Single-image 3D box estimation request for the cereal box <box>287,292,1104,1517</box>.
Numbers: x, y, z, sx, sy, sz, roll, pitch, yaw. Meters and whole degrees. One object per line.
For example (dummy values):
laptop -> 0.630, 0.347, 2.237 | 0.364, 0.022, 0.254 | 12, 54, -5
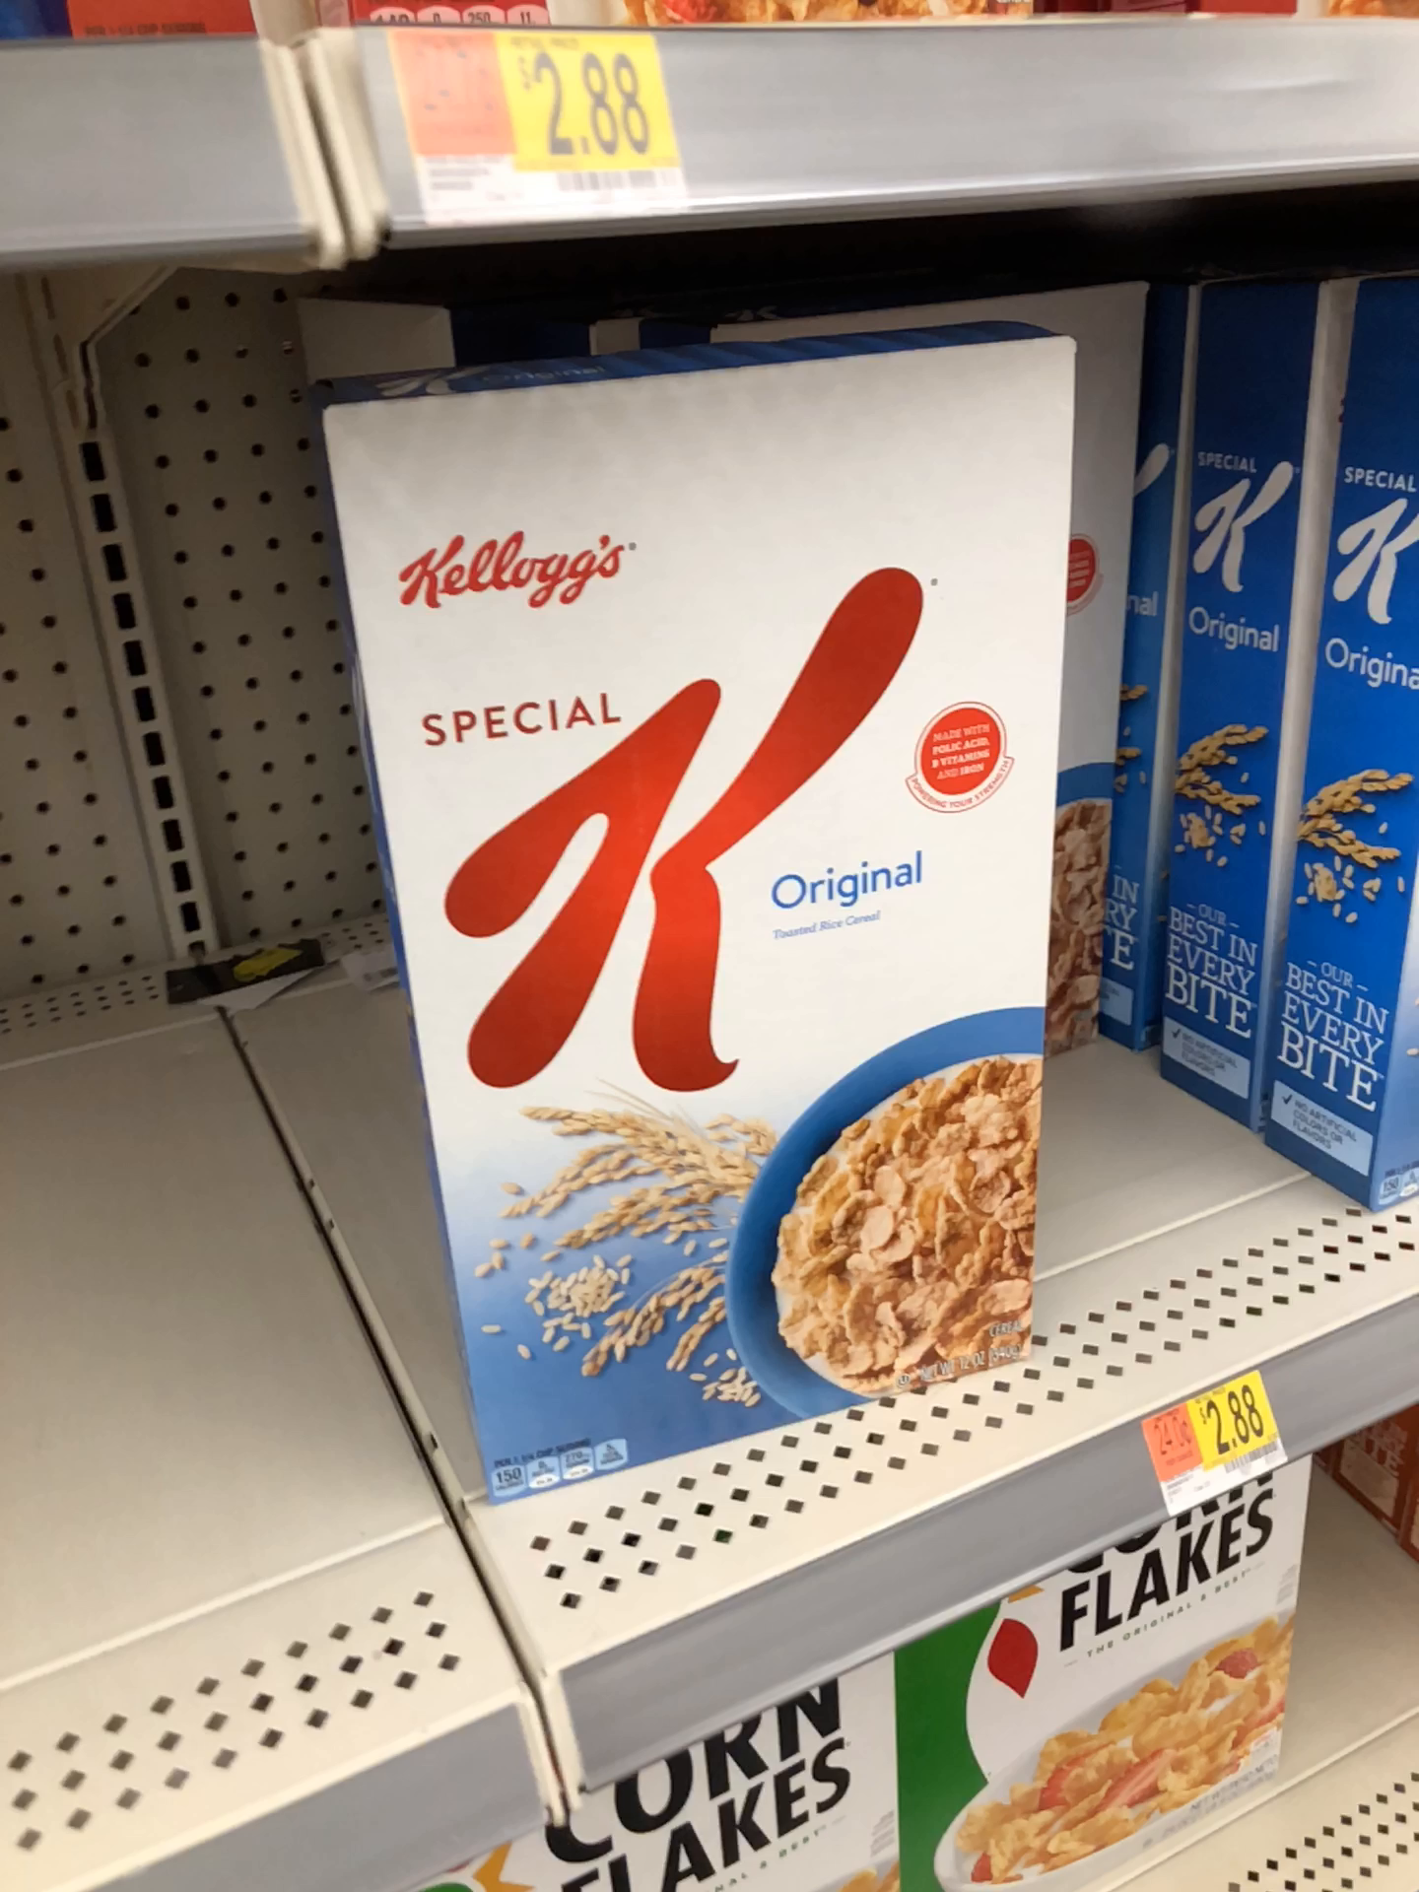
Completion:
cereal box -> 0.002, -0.008, 0.465 | 0.190, 0.329, 0.080 | -11, 27, -15
